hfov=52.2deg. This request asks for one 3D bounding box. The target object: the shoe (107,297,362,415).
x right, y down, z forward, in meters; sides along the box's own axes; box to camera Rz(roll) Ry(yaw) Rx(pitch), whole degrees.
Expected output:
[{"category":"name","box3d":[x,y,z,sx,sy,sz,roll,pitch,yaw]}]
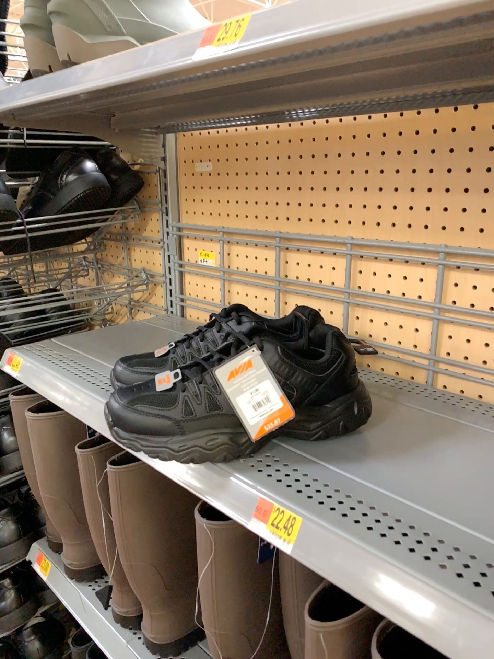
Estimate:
[{"category":"shoe","box3d":[-0.019,0.026,0.663,0.296,0.104,0.139,-2,16,-7]}]

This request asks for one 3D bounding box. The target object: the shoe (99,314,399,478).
[{"category":"shoe","box3d":[-0.005,0.059,0.555,0.296,0.104,0.135,-4,16,-15]}]
